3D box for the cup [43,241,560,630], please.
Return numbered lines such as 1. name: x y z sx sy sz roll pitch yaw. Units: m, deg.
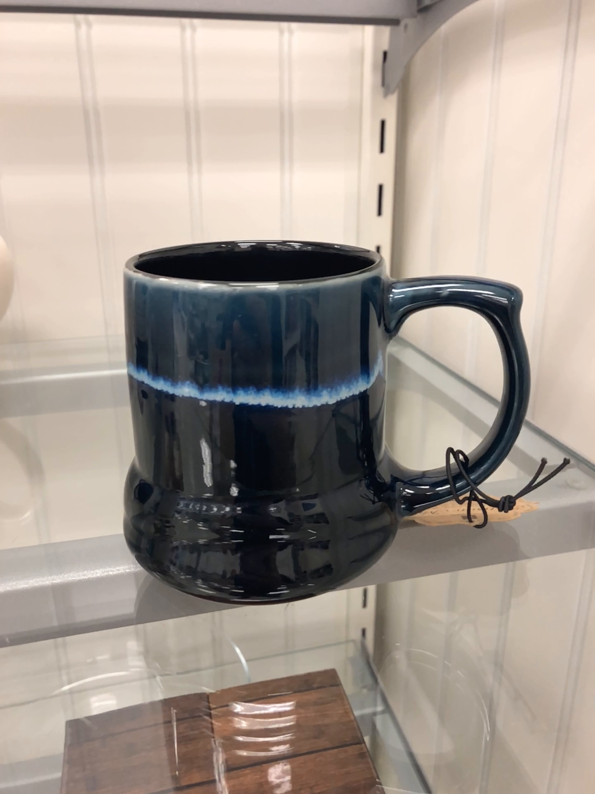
1. cup: 0.002 0.005 0.245 0.140 0.109 0.101 1 20 2
